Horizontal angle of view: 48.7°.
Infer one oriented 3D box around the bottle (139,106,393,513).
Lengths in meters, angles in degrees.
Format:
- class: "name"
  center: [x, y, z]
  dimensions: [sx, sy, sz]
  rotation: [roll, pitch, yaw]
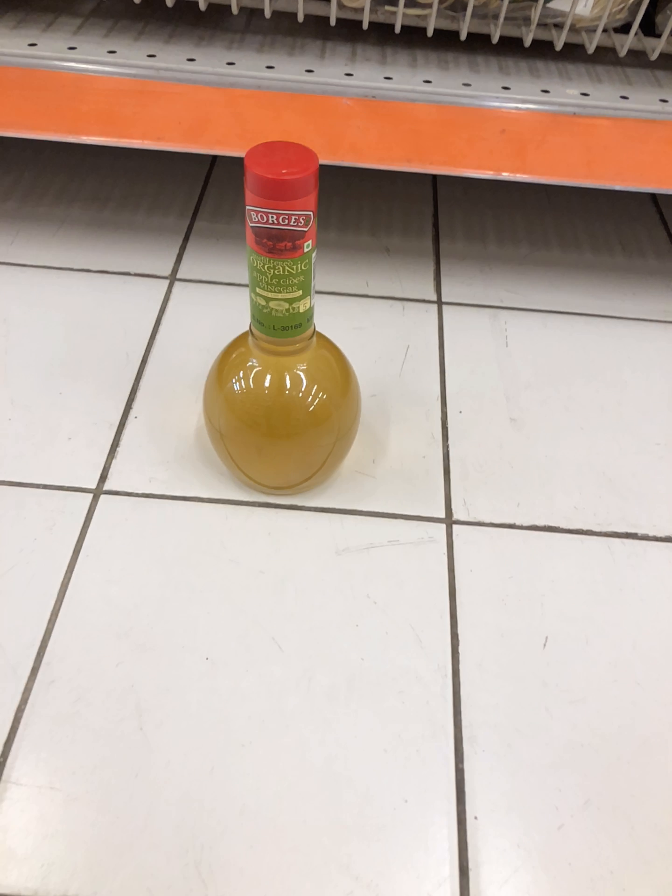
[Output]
- class: "bottle"
  center: [-0.028, -0.060, 0.366]
  dimensions: [0.090, 0.169, 0.091]
  rotation: [2, 48, -2]
